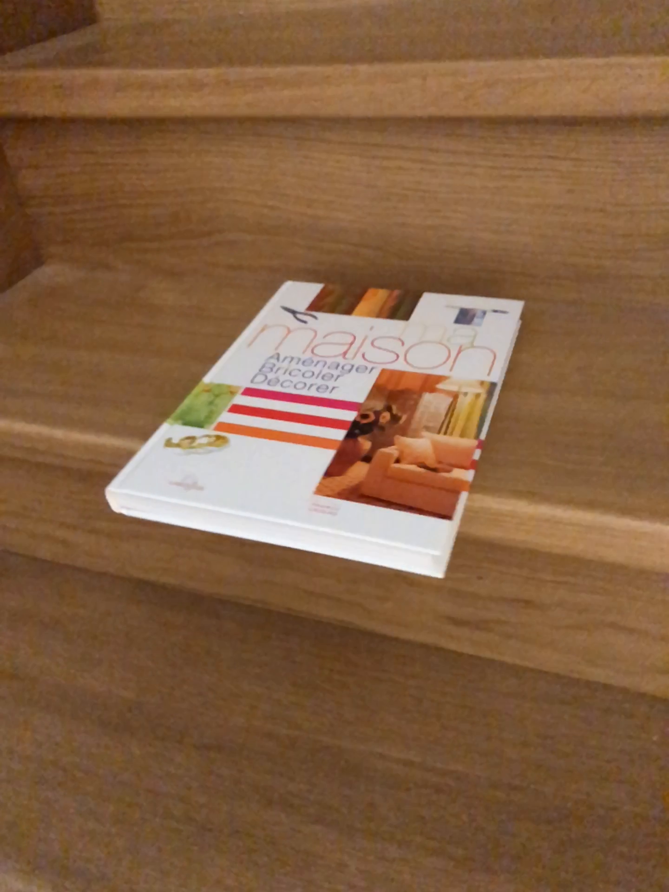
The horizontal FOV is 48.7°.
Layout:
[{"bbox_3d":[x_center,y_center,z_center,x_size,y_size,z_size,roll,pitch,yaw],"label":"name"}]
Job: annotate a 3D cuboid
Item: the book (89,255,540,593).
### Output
[{"bbox_3d":[0.012,-0.047,0.509,0.210,0.030,0.312,8,40,18],"label":"book"}]
